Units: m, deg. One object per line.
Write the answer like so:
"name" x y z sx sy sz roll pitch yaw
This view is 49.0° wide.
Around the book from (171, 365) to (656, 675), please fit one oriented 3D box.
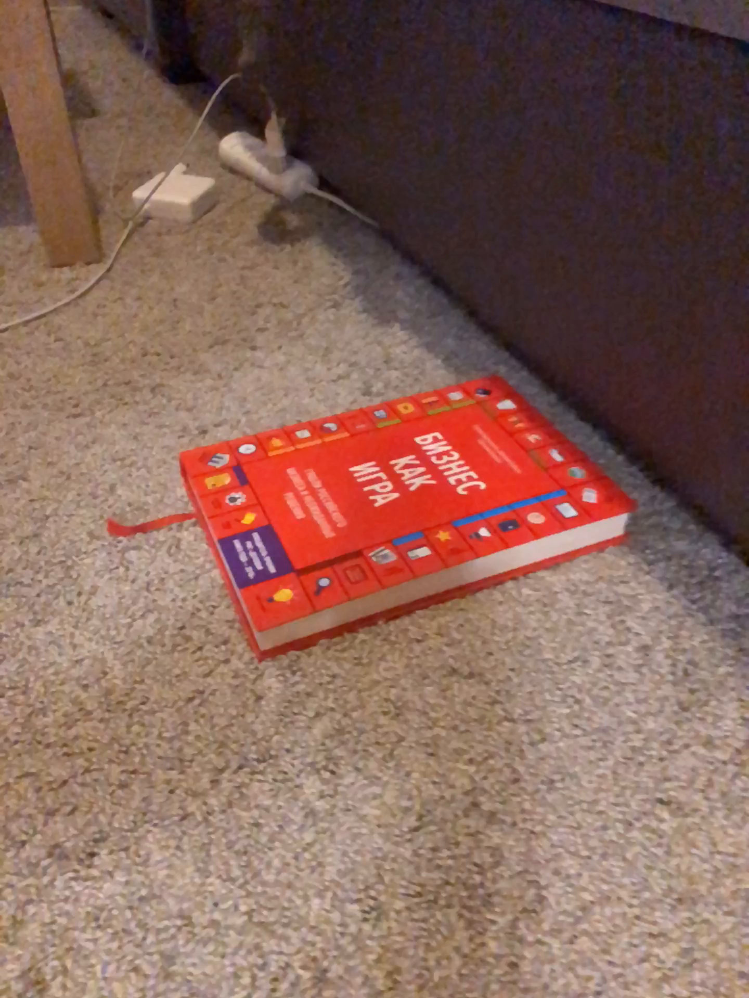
"book" 0.017 -0.004 0.521 0.247 0.033 0.180 -16 42 -19
